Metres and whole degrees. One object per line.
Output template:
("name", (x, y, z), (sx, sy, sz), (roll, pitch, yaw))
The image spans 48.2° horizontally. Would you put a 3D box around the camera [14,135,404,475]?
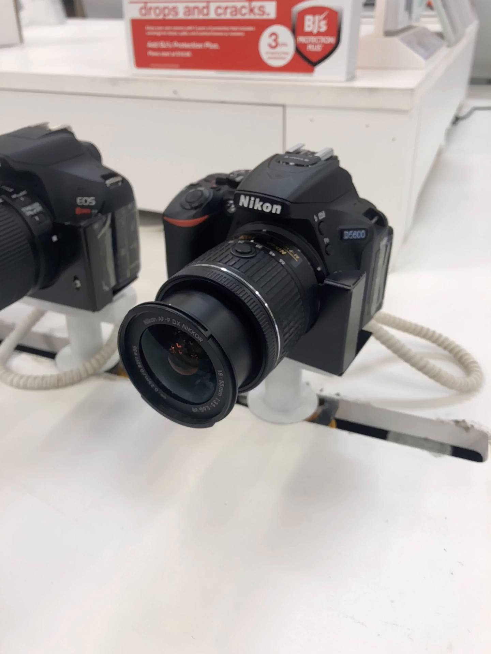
("camera", (-0.004, -0.029, 0.274), (0.120, 0.089, 0.151), (14, 34, 22))
